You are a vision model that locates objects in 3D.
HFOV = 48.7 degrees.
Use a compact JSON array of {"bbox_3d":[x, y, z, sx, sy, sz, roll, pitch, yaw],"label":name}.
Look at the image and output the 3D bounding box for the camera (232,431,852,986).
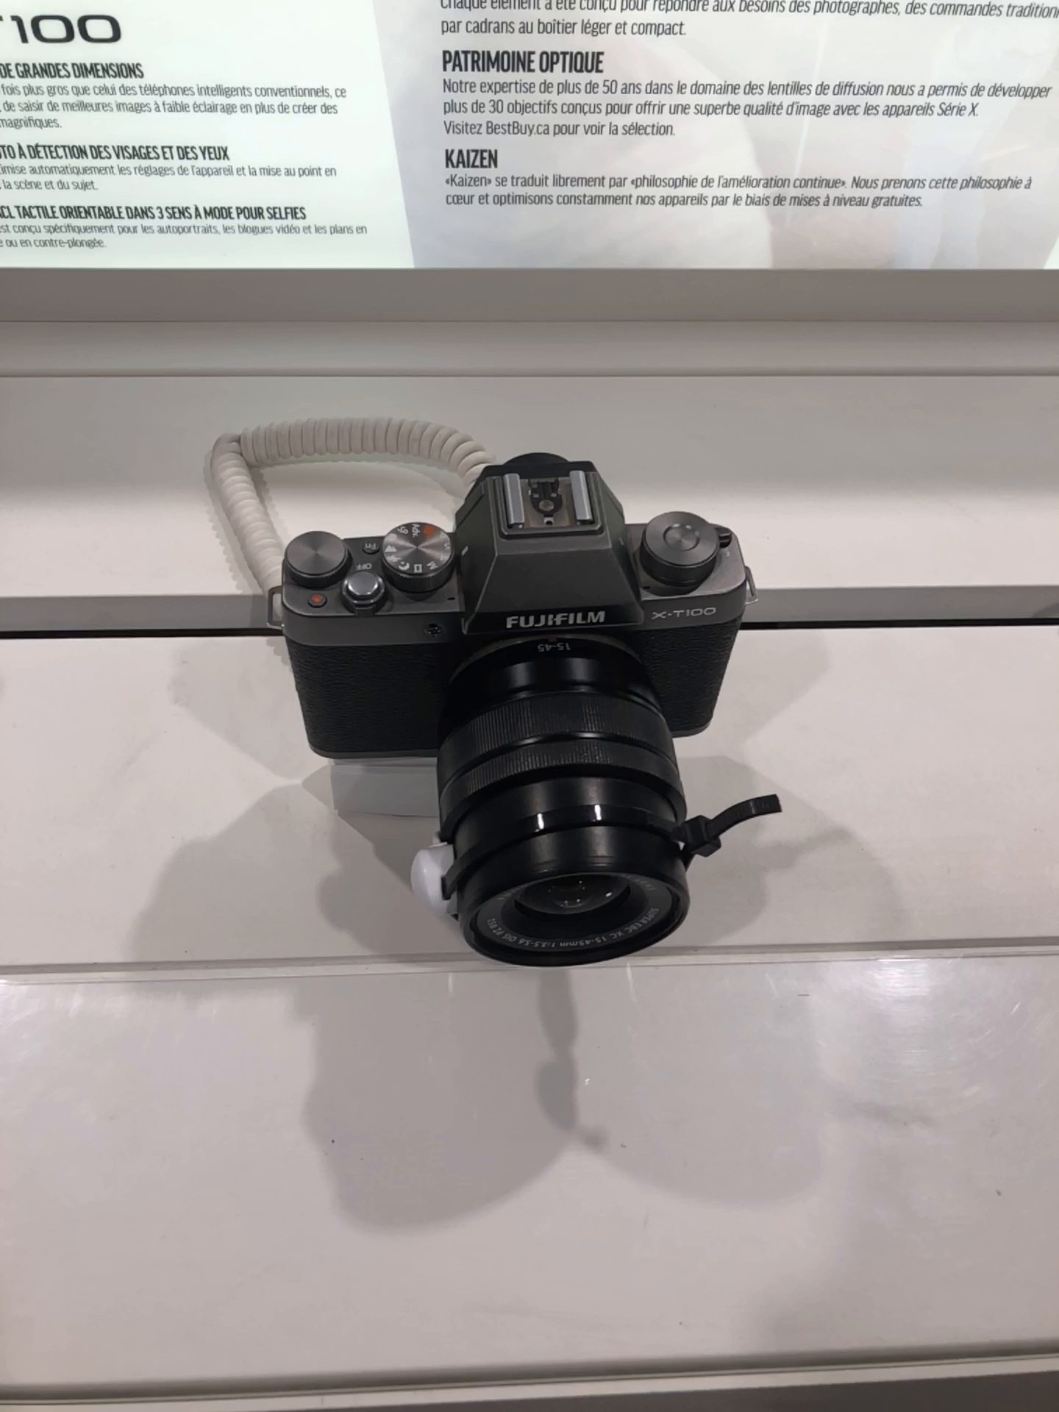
[{"bbox_3d":[0.000,0.001,0.318,0.130,0.099,0.108,-2,51,-2],"label":"camera"}]
